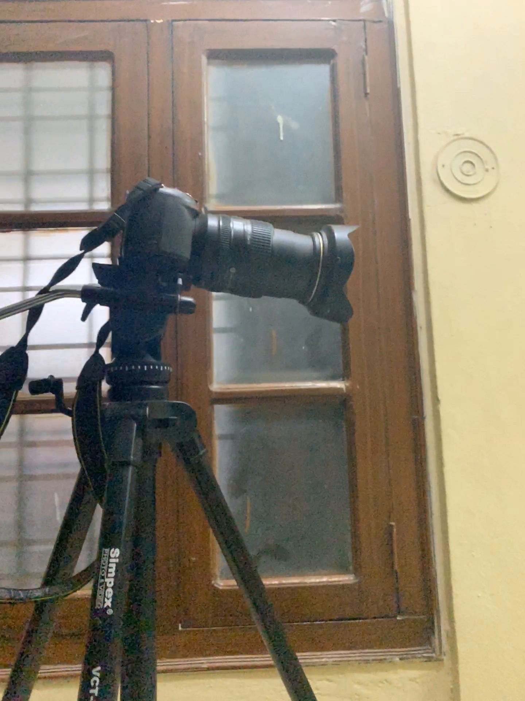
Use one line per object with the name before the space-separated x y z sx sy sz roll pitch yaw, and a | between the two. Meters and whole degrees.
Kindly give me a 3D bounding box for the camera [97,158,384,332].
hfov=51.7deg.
camera | -0.024 -0.102 0.586 0.270 0.120 0.130 6 -8 -9
